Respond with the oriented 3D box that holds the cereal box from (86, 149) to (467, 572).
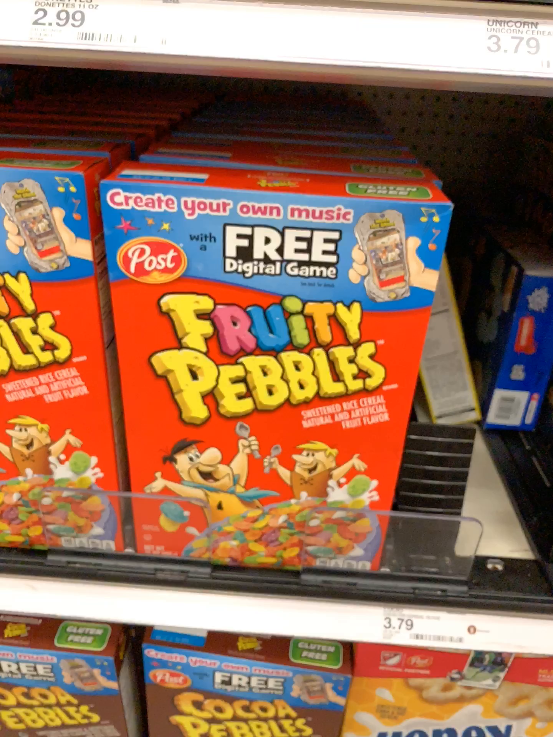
[{"bbox_3d":[-0.006,0.011,0.401,0.200,0.288,0.060,4,31,1],"label":"cereal box"}]
